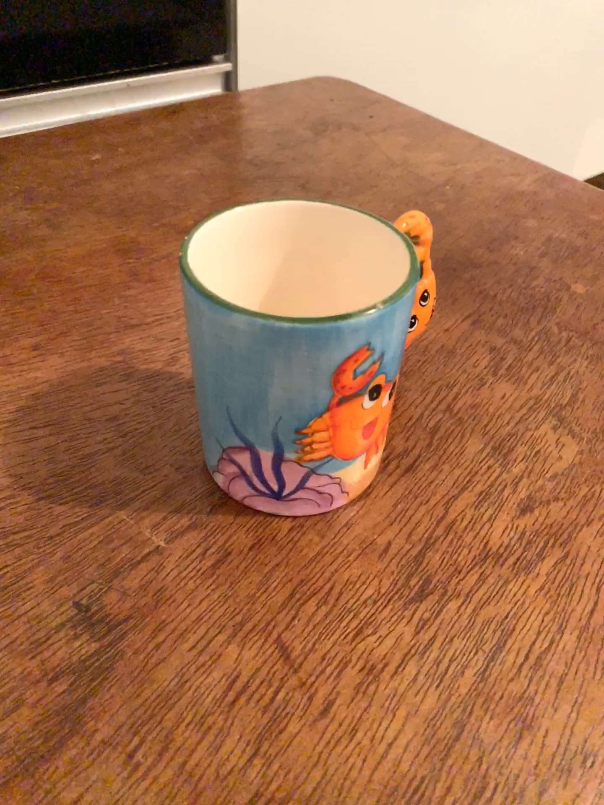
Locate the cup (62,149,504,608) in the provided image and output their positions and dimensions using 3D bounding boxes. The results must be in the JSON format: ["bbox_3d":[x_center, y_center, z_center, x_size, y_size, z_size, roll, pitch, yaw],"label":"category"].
[{"bbox_3d":[-0.001,-0.017,0.238,0.080,0.099,0.130,30,49,25],"label":"cup"}]
